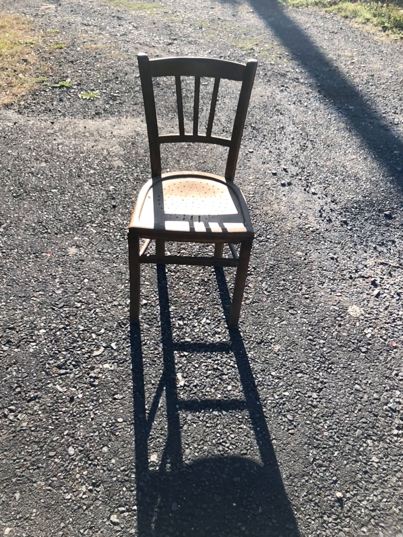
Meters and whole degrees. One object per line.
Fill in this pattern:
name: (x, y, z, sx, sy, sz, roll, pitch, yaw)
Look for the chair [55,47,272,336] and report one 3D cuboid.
chair: (-0.080, -0.231, 1.446, 0.490, 0.735, 0.543, 2, 45, 1)
